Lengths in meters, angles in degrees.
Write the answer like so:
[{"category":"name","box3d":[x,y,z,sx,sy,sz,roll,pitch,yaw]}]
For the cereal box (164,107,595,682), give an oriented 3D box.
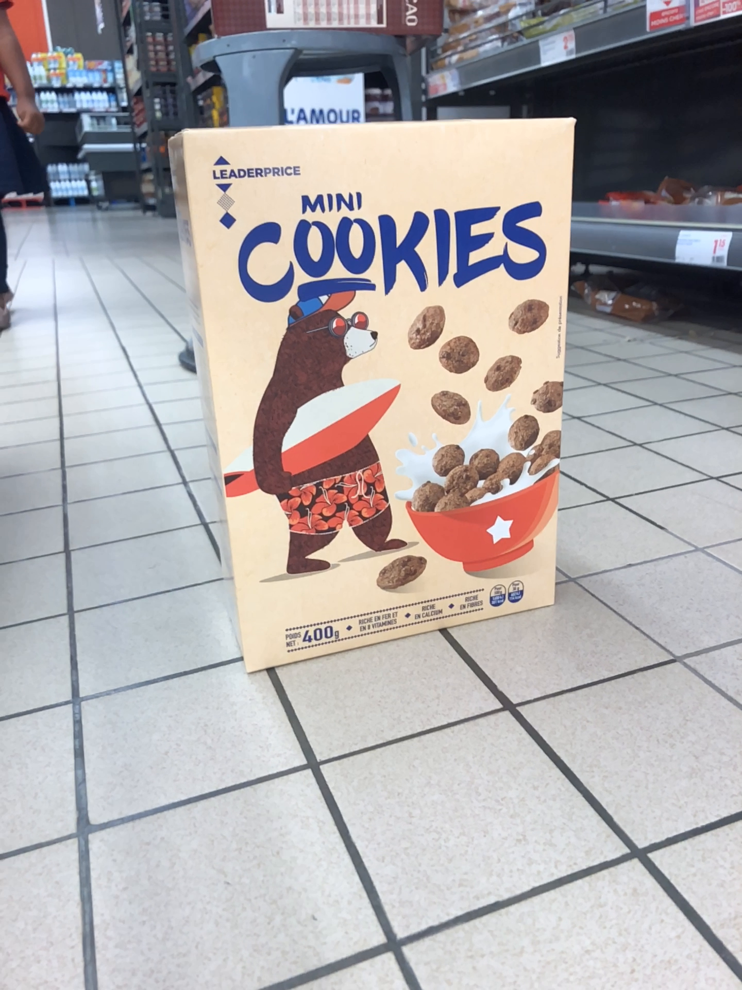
[{"category":"cereal box","box3d":[0.007,-0.058,0.456,0.200,0.279,0.080,-9,21,-17]}]
